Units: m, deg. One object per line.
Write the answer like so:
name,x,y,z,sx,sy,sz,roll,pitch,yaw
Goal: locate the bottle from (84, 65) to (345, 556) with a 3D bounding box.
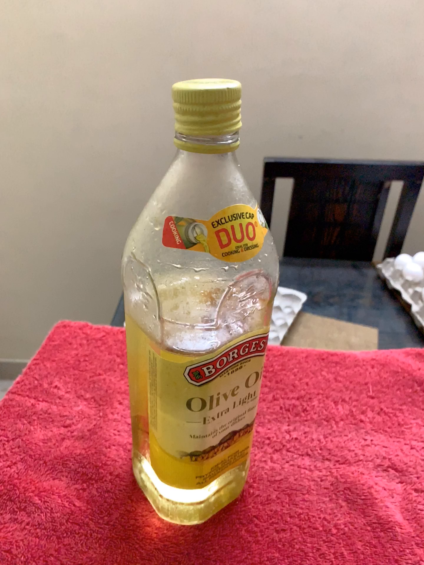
bottle,-0.005,0.031,0.251,0.080,0.268,0.070,-19,38,-31
